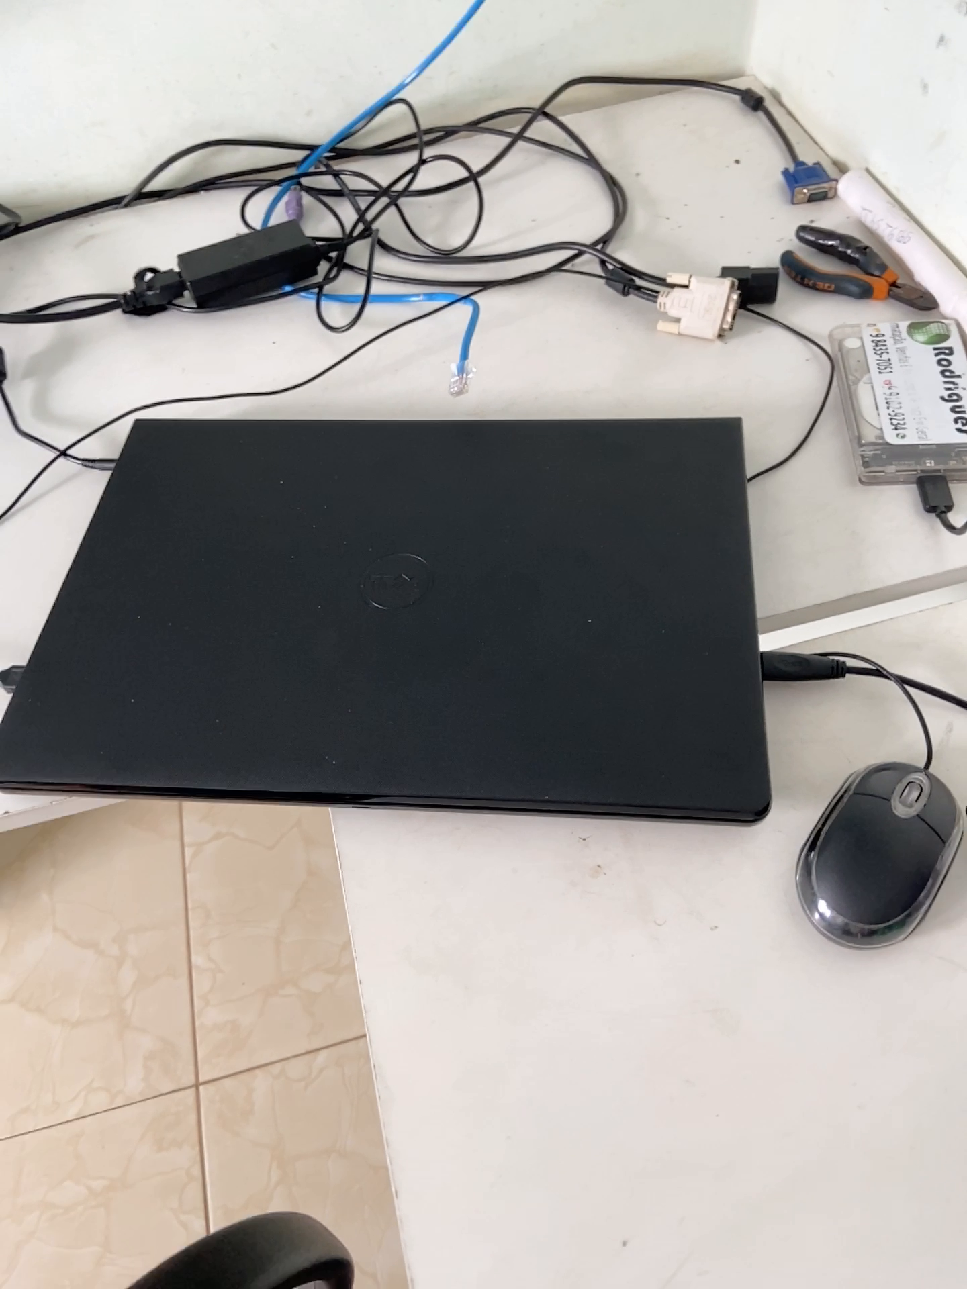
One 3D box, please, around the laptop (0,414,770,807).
[{"bbox_3d":[-0.046,-0.036,0.537,0.375,0.003,0.261,1,53,7],"label":"laptop"}]
